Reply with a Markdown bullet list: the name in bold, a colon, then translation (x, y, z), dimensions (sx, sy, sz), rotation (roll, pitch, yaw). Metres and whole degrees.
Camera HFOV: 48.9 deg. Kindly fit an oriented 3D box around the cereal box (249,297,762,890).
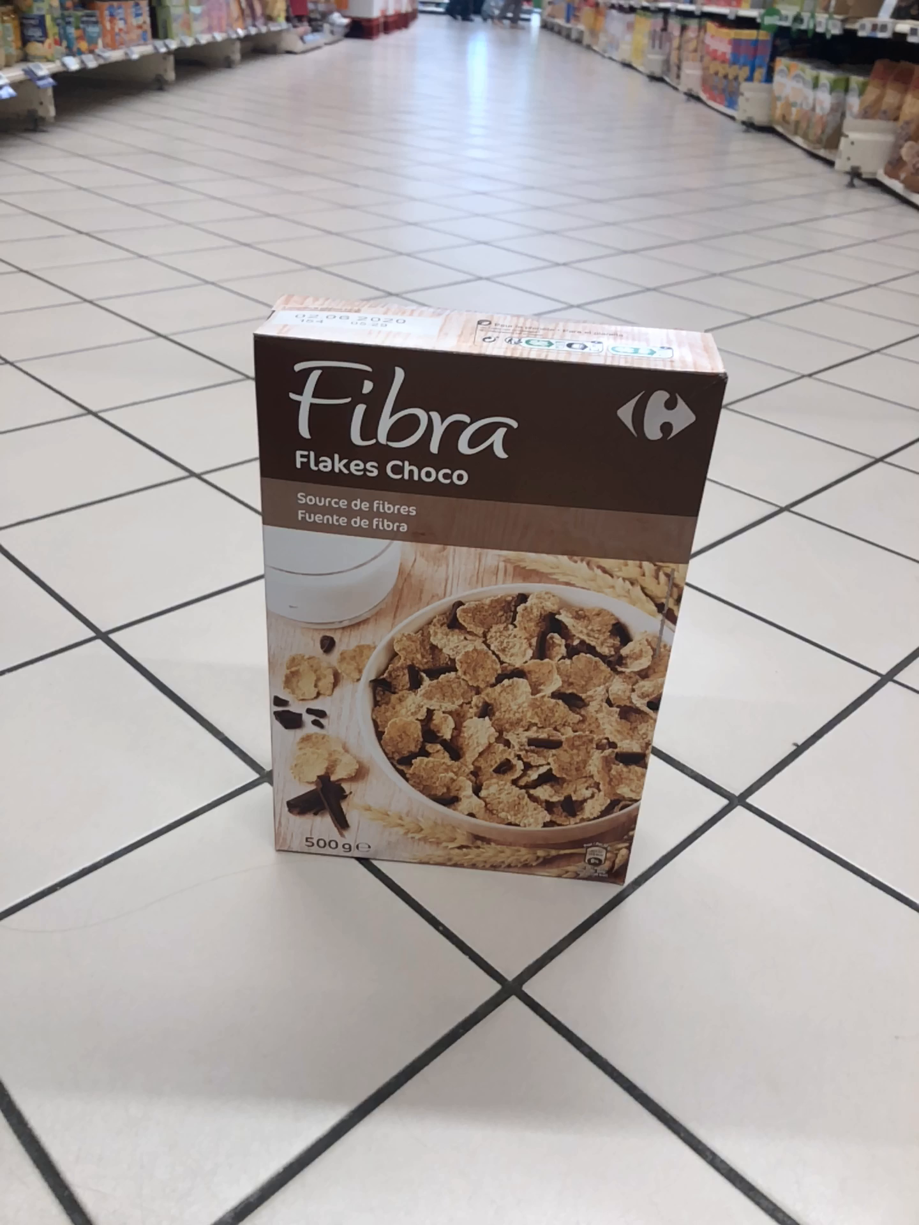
- **cereal box**: translation (0.011, 0.003, 0.496), dimensions (0.200, 0.278, 0.070), rotation (5, 32, 1)
